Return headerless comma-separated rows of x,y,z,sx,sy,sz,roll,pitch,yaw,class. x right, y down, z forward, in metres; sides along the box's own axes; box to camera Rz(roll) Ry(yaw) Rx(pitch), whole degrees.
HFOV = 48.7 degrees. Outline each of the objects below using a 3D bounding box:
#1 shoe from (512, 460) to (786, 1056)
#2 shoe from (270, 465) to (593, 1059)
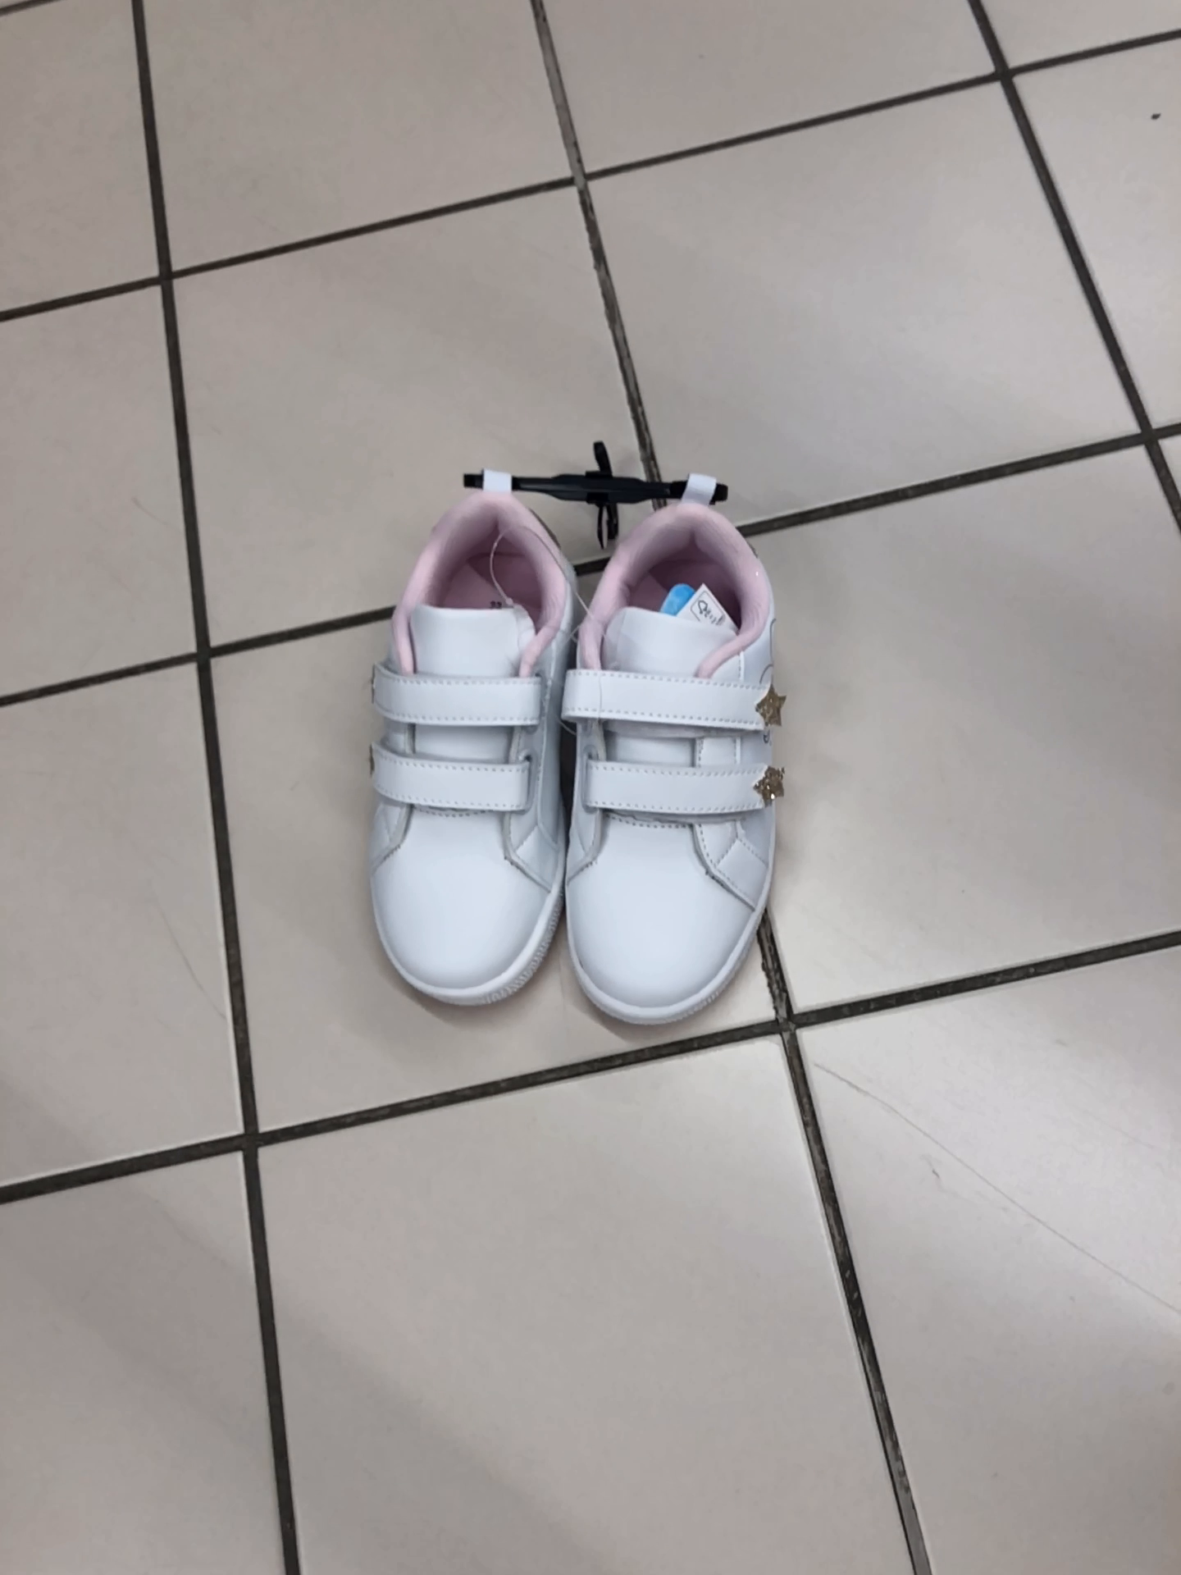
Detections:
0.026,-0.012,0.468,0.080,0.070,0.201,2,71,7,shoe
-0.050,-0.010,0.470,0.080,0.070,0.201,2,71,7,shoe
